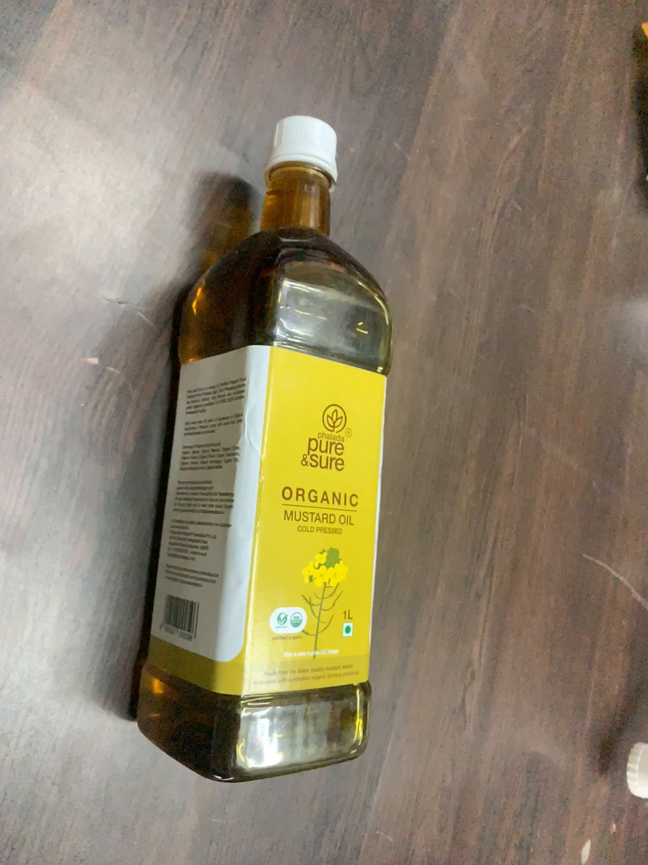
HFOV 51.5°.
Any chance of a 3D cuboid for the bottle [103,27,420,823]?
[{"bbox_3d":[-0.023,-0.005,0.281,0.080,0.080,0.270,10,80,-37],"label":"bottle"}]
